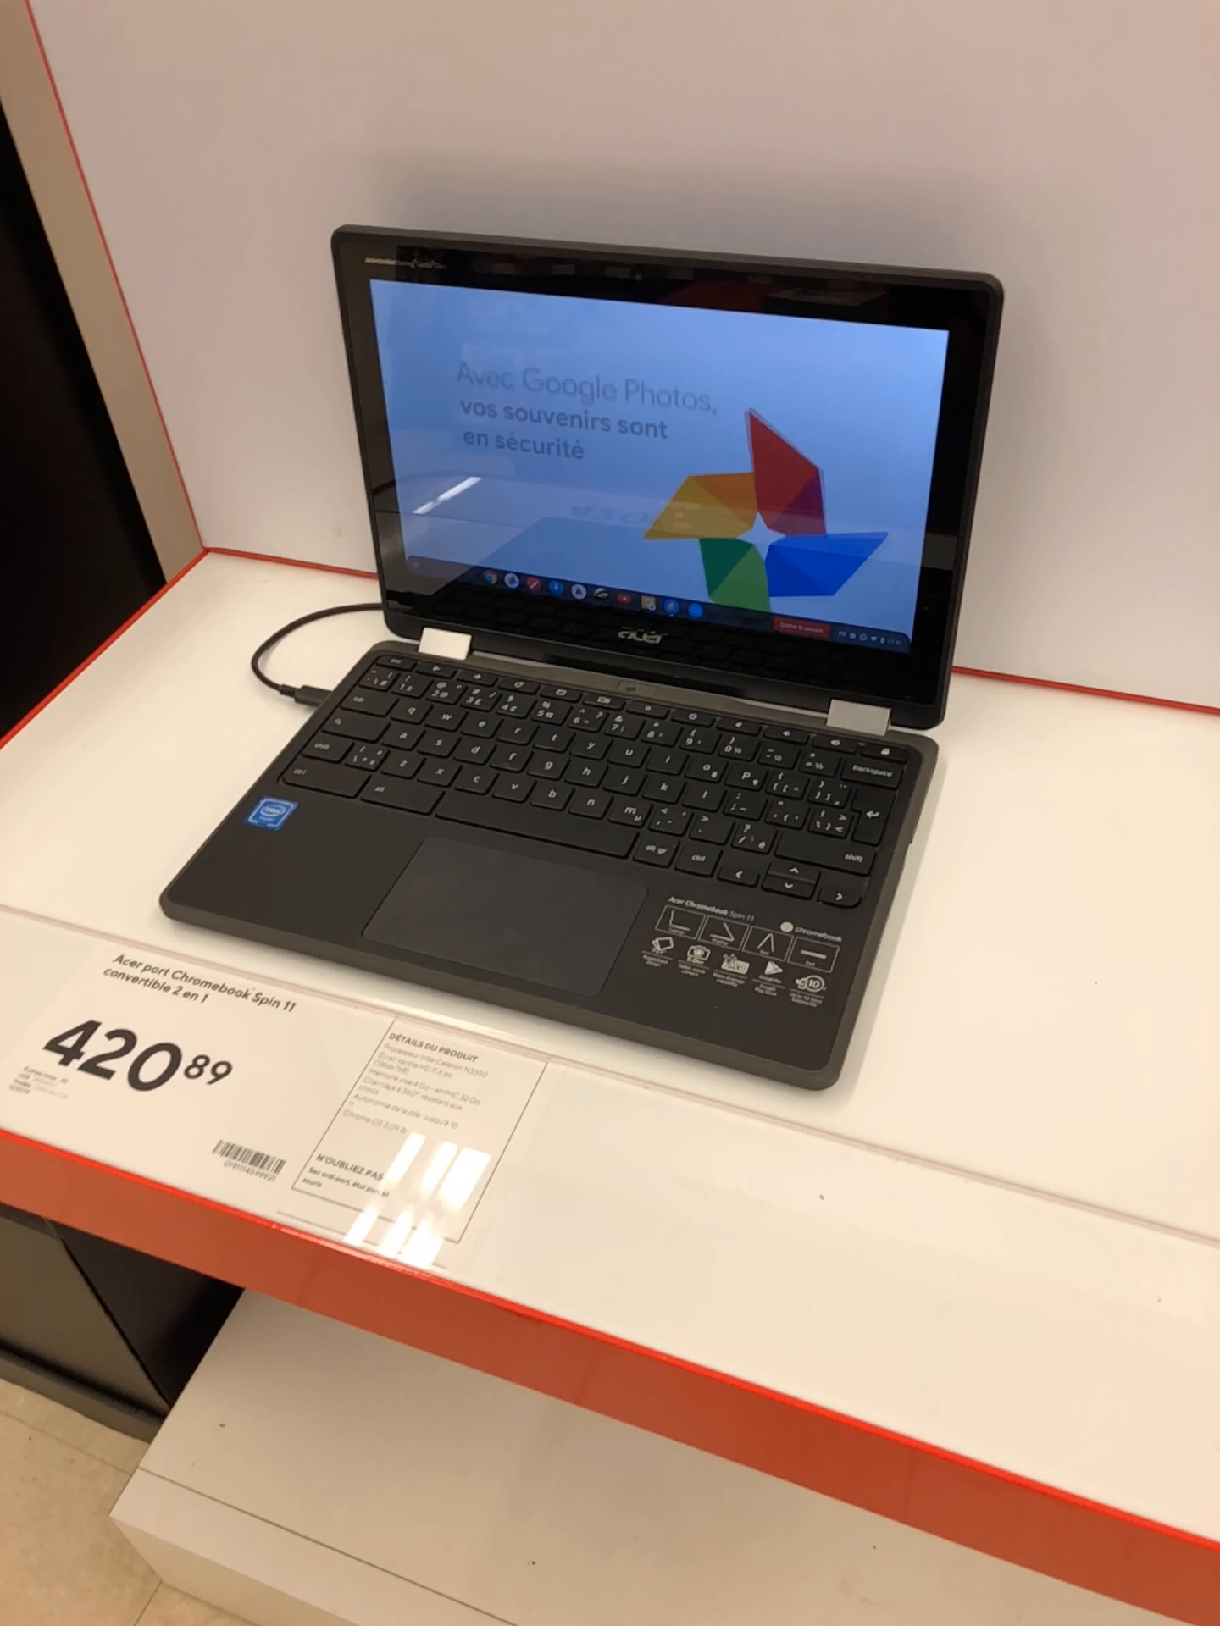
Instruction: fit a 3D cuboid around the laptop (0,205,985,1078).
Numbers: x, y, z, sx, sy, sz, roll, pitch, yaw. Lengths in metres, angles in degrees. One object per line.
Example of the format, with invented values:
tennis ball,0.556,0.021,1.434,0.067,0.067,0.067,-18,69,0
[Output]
laptop,-0.023,-0.090,0.556,0.289,0.198,0.253,11,47,18
